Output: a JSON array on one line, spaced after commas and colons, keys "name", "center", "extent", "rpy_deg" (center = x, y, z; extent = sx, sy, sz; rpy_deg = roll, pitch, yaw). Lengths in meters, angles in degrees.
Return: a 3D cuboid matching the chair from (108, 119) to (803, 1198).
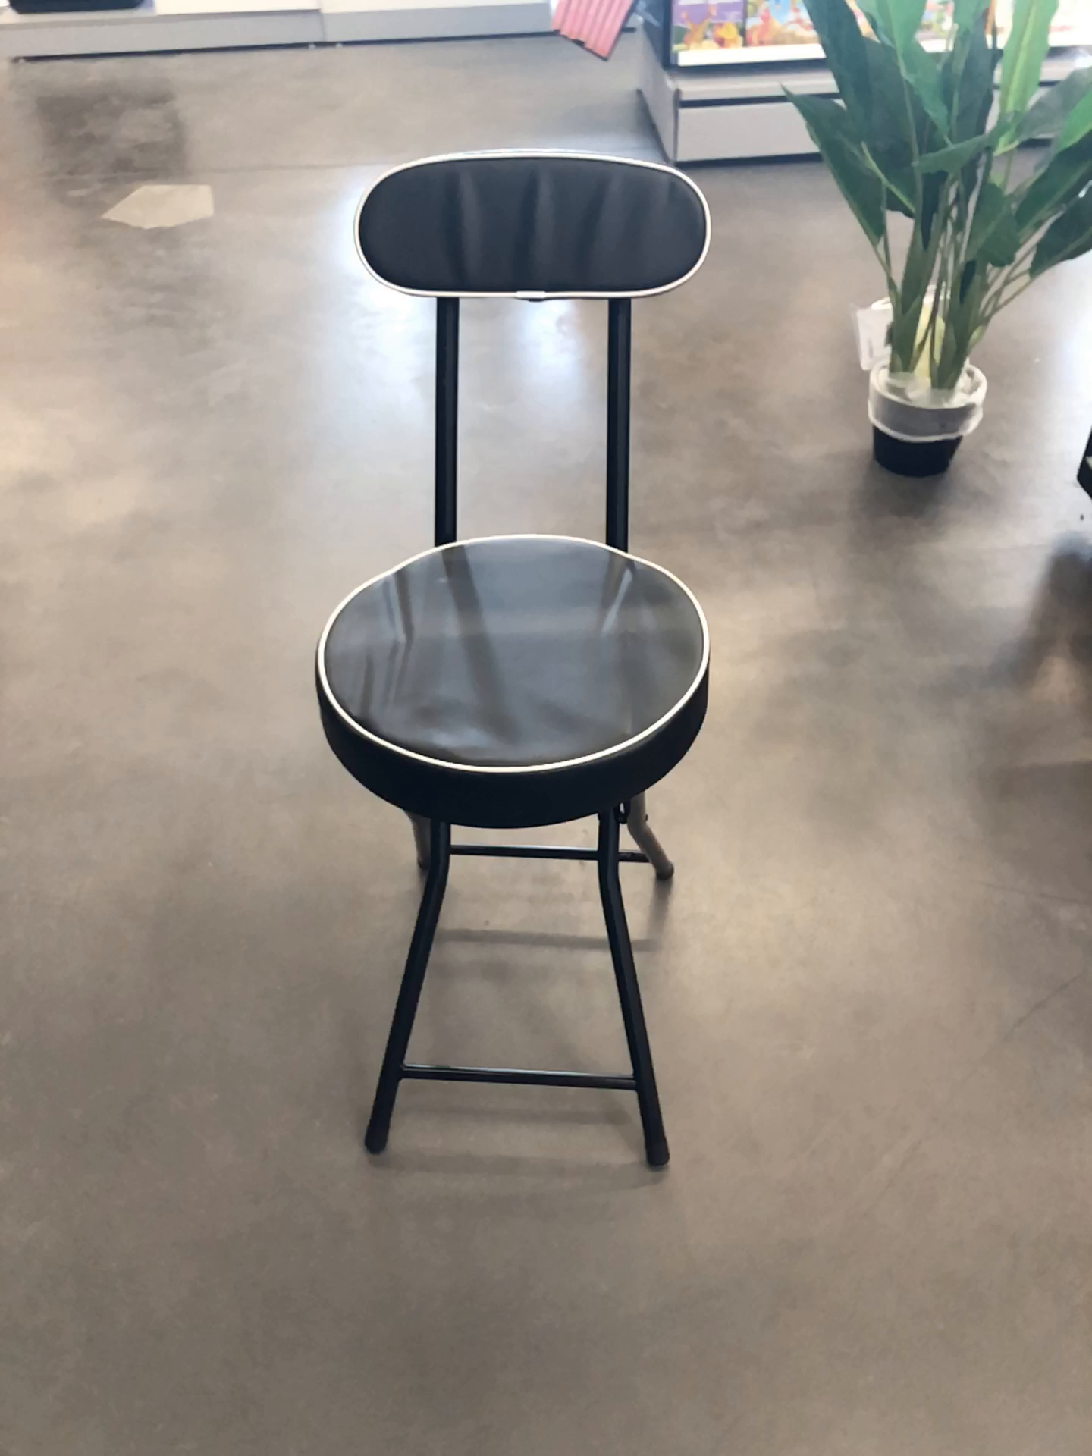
[{"name": "chair", "center": [-0.014, -0.032, 1.024], "extent": [0.340, 0.756, 0.513], "rpy_deg": [2, 43, 5]}]
